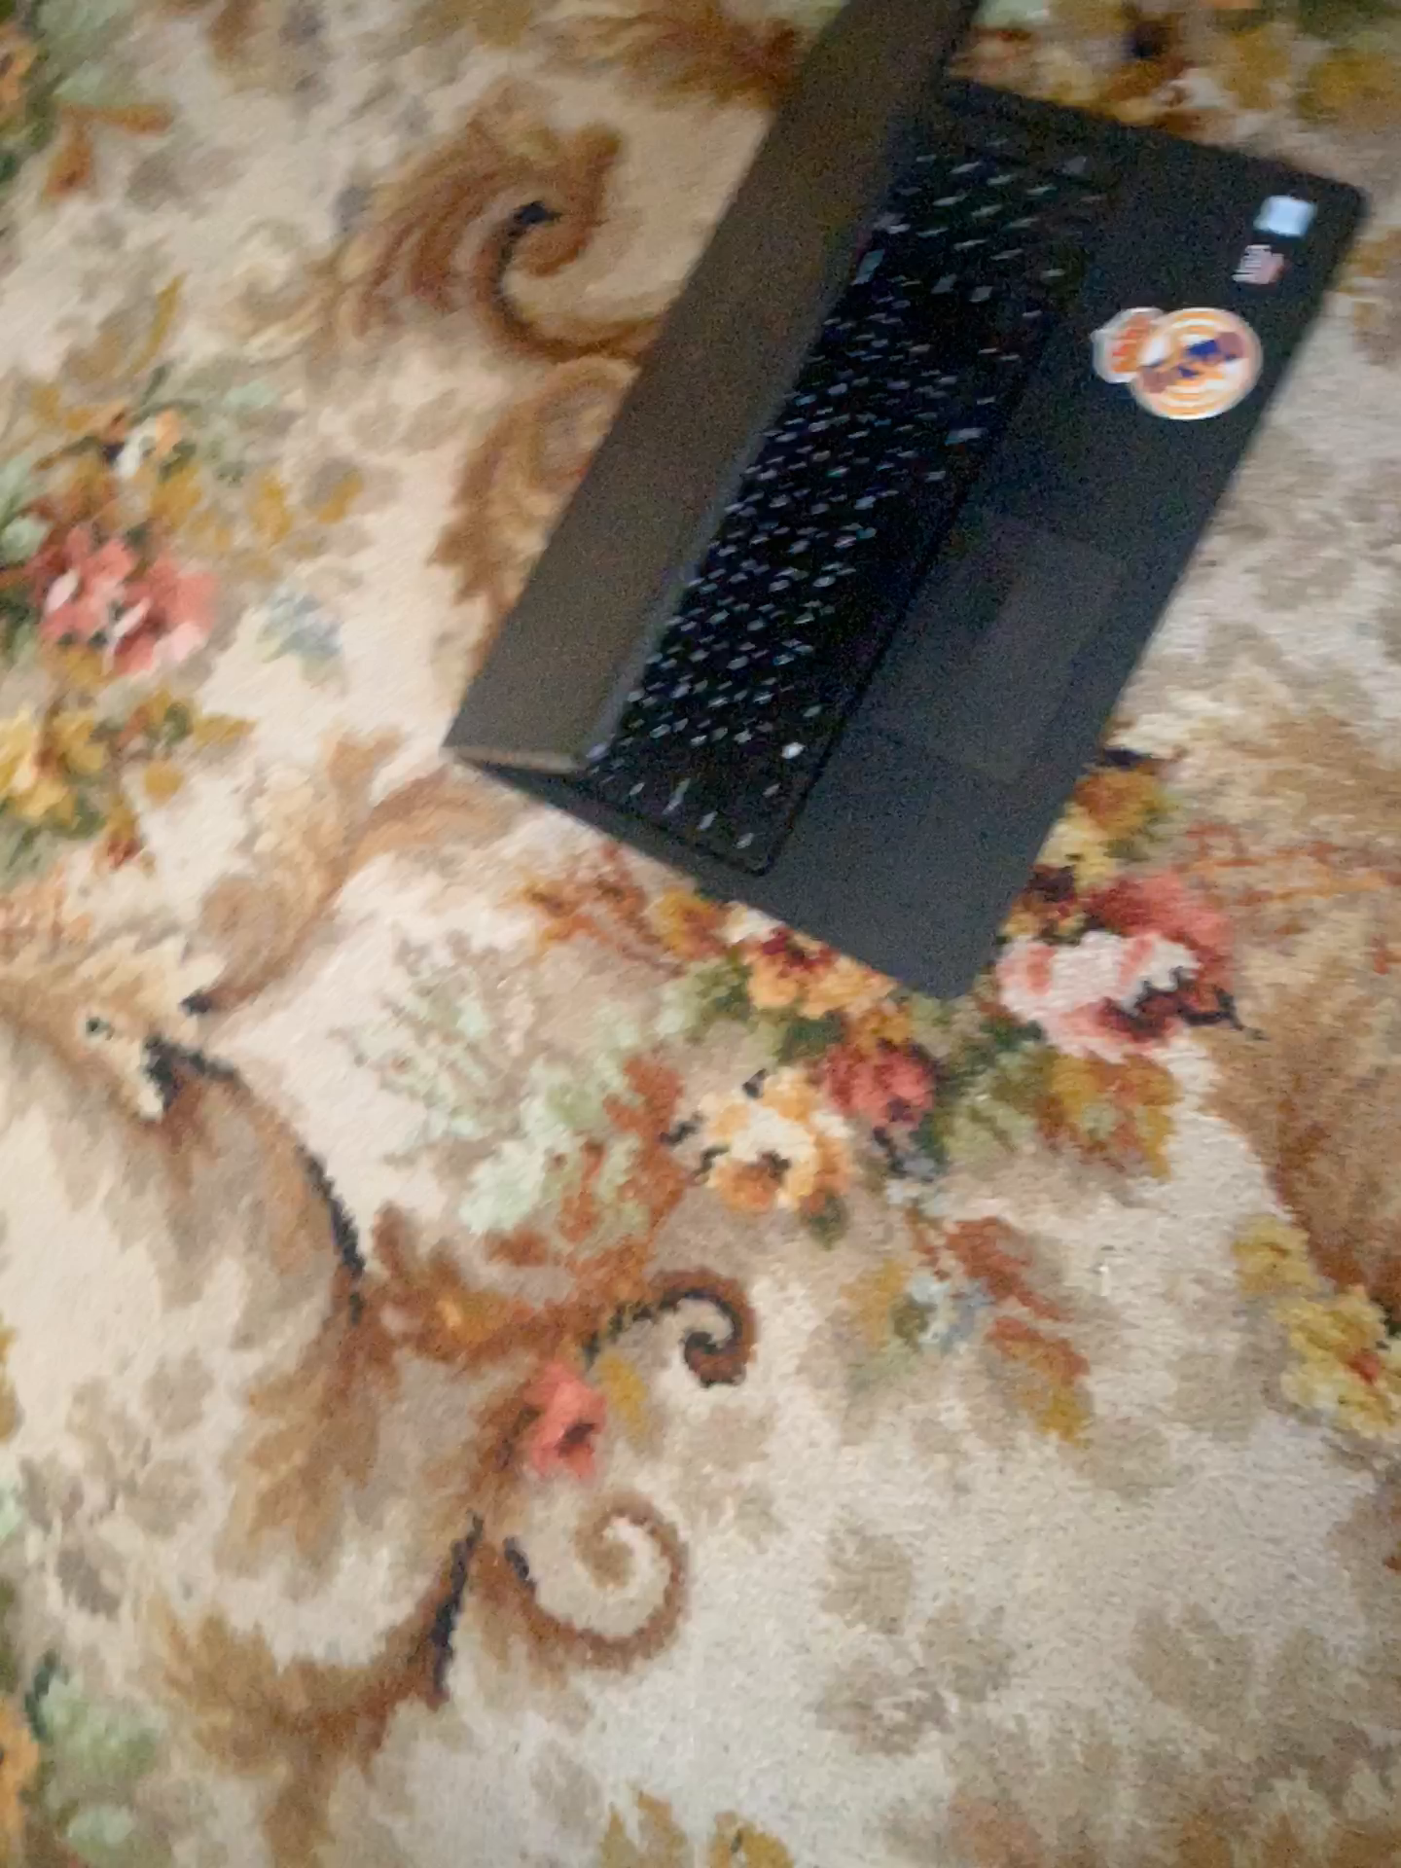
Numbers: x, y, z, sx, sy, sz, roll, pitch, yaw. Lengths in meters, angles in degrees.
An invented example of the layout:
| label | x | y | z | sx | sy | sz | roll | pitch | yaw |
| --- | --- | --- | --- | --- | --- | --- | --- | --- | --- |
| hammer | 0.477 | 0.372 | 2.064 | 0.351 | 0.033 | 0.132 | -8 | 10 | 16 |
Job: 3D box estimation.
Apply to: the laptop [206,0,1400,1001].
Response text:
| label | x | y | z | sx | sy | sz | roll | pitch | yaw |
| --- | --- | --- | --- | --- | --- | --- | --- | --- | --- |
| laptop | 0.057 | -0.205 | 0.519 | 0.252 | 0.193 | 0.366 | 26 | 86 | 19 |
